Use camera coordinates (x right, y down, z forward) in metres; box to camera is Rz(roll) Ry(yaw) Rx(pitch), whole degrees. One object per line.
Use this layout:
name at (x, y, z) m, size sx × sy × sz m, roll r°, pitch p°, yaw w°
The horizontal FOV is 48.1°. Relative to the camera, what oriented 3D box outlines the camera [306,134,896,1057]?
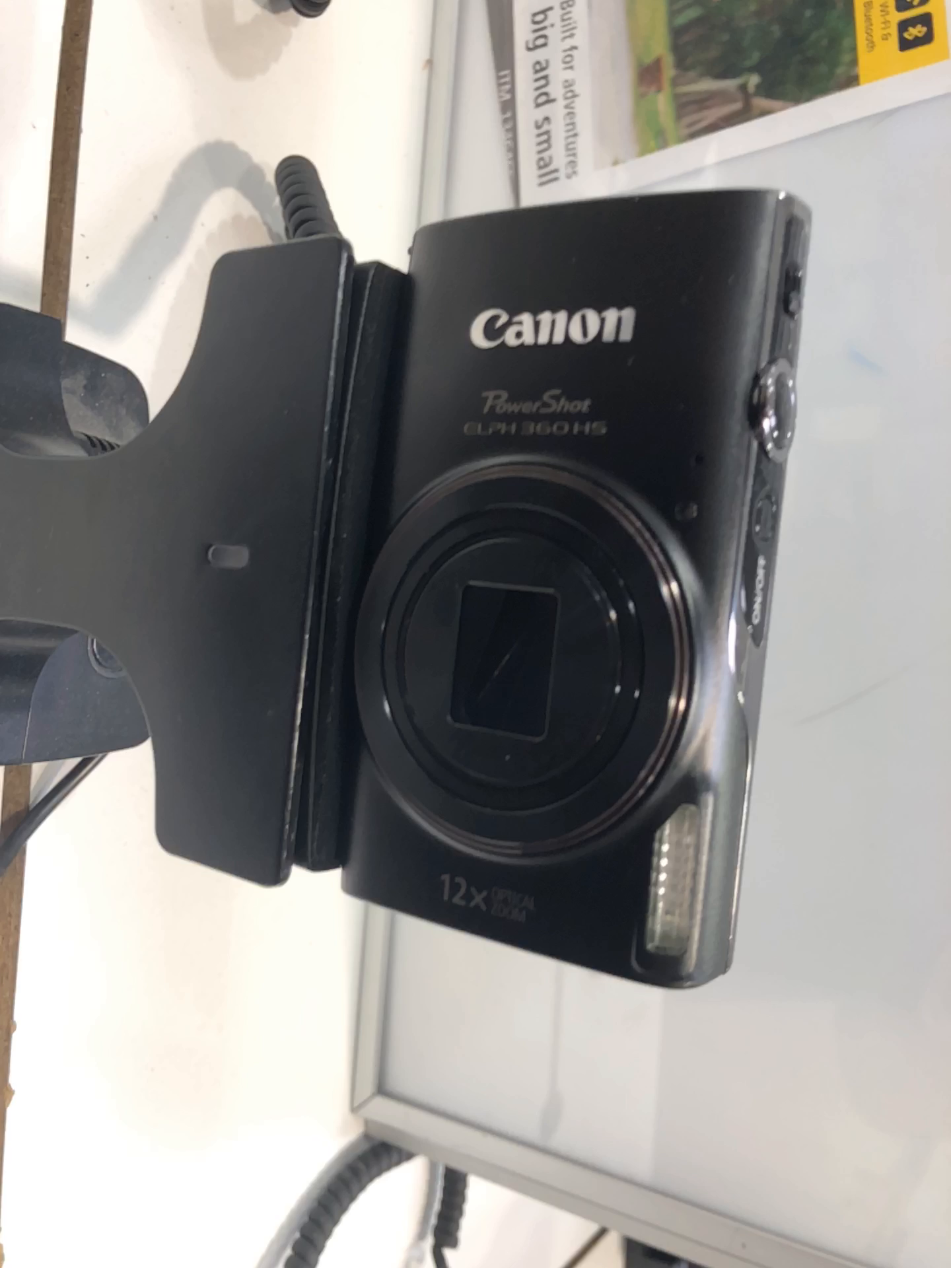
camera at (0.018, -0.006, 0.157) m, size 0.030 × 0.070 × 0.110 m, roll 9°, pitch 86°, yaw -59°
